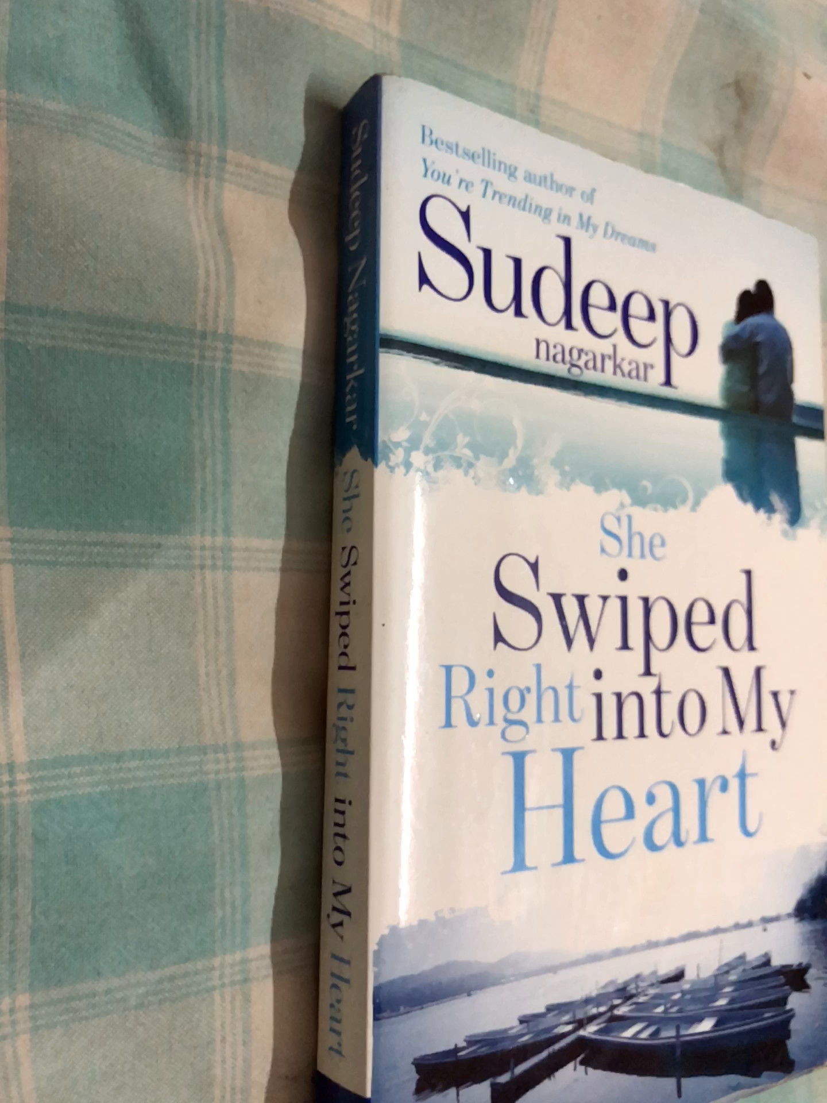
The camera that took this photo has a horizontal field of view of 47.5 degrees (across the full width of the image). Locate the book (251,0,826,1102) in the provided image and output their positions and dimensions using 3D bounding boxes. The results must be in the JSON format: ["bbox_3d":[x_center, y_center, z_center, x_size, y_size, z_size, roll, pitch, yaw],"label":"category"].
[{"bbox_3d":[0.036,0.010,0.198,0.131,0.030,0.210,4,84,-32],"label":"book"}]
